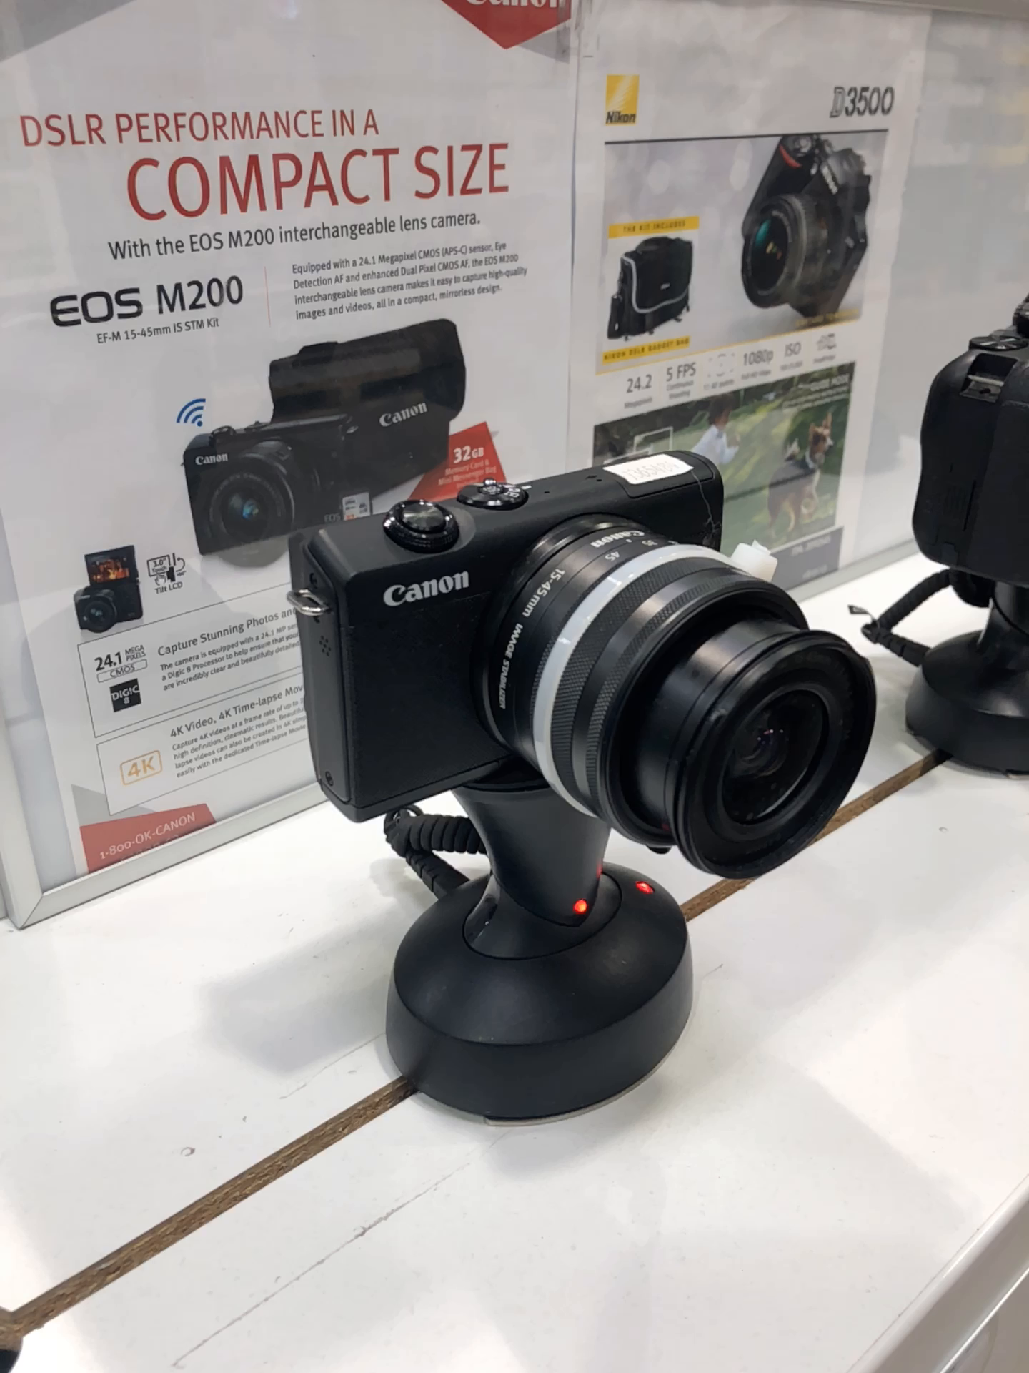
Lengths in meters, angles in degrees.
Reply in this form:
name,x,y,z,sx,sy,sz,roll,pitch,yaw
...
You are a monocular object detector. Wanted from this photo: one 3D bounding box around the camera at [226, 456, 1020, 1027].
name,x,y,z,sx,sy,sz,roll,pitch,yaw
camera,0.020,-0.004,0.256,0.120,0.050,0.120,-19,33,-33
